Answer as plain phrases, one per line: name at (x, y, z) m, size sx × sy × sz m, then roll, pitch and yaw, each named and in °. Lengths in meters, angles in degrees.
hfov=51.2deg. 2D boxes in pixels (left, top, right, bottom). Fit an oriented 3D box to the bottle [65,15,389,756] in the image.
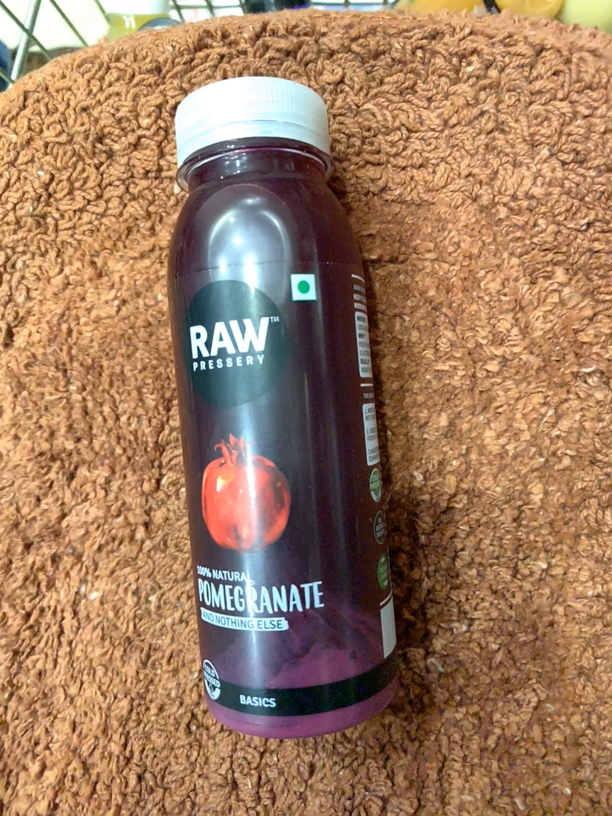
bottle at (-0.012, -0.001, 0.145) m, size 0.050 × 0.040 × 0.140 m, roll -3°, pitch 97°, yaw 12°
